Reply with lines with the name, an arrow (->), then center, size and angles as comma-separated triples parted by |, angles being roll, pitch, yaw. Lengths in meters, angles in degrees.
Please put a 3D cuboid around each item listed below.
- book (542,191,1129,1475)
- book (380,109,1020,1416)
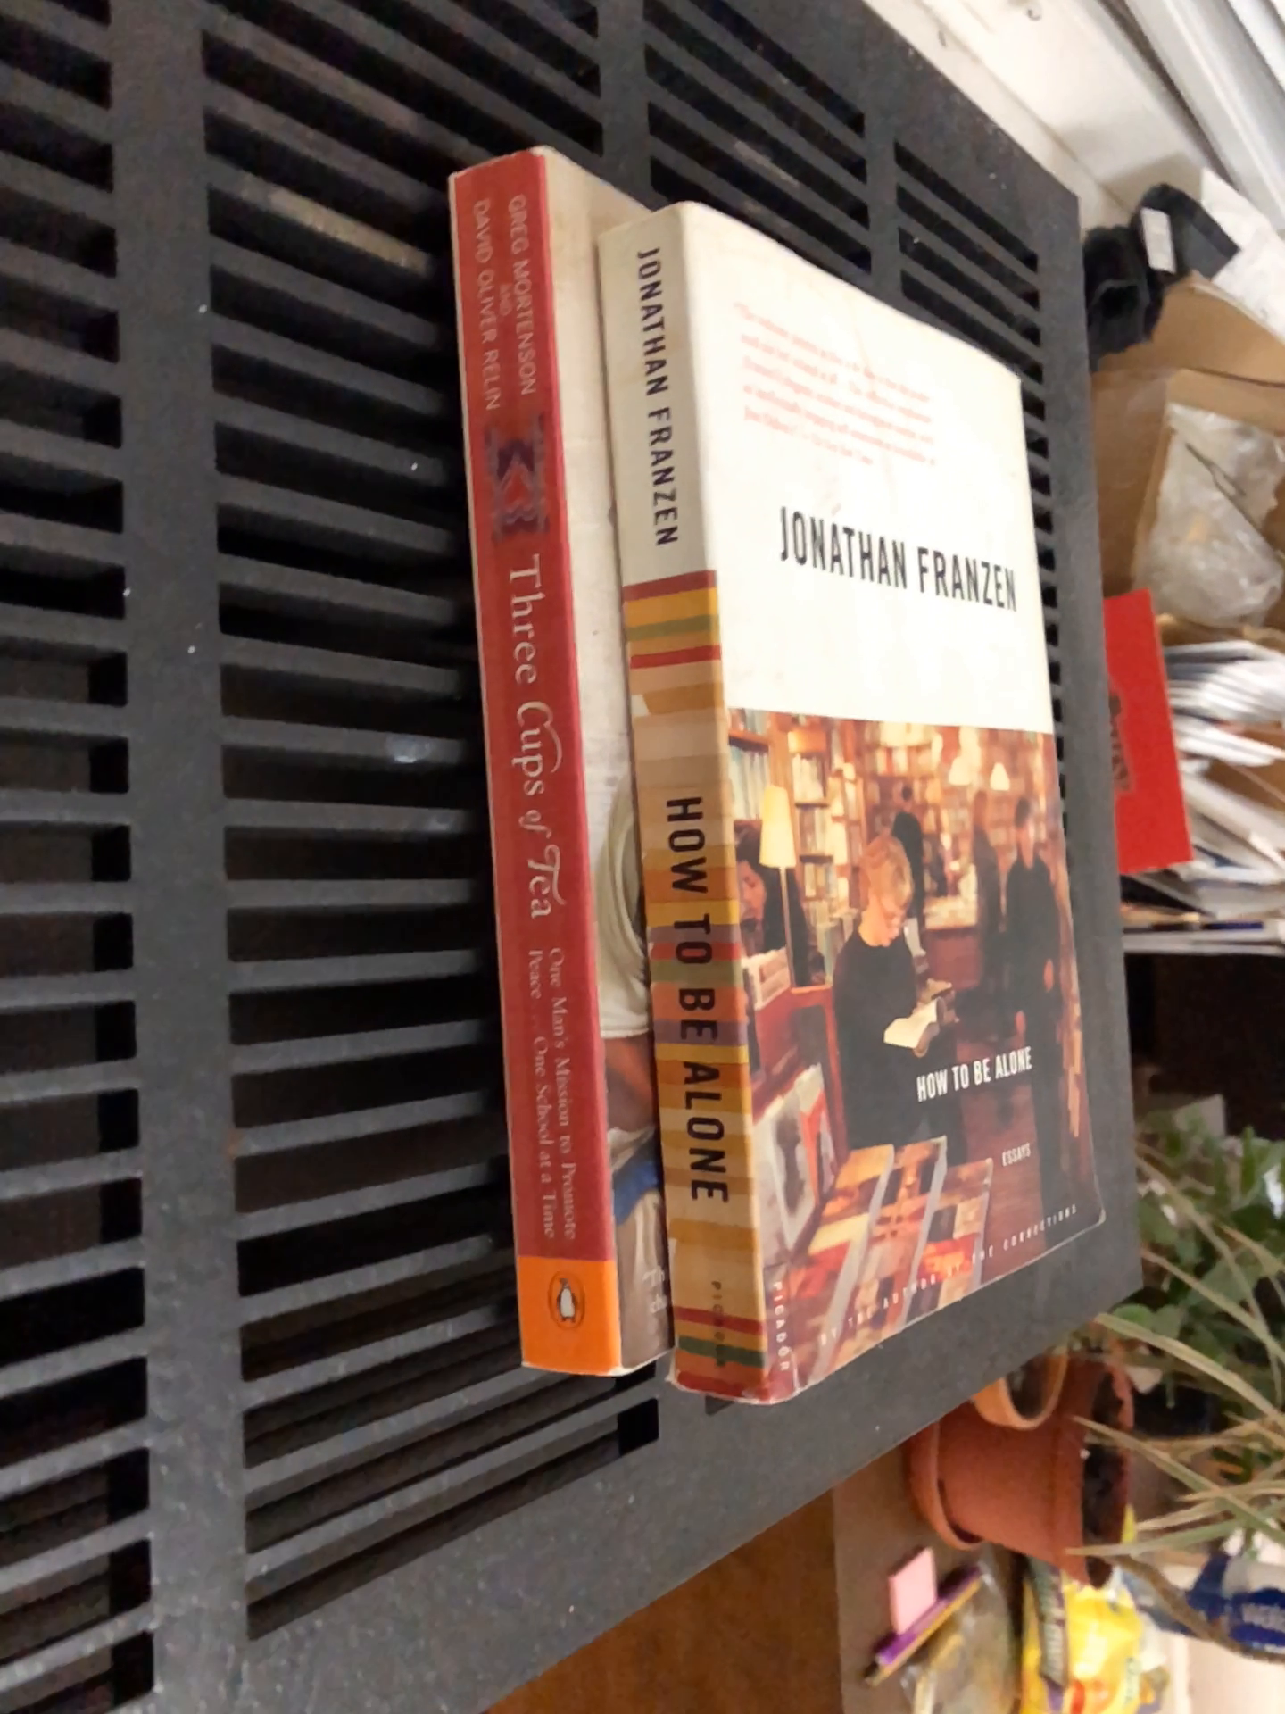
book -> 0.051, -0.007, 0.301 | 0.151, 0.030, 0.210 | -5, 89, -51
book -> 0.023, -0.018, 0.296 | 0.151, 0.030, 0.210 | -5, 89, -51
